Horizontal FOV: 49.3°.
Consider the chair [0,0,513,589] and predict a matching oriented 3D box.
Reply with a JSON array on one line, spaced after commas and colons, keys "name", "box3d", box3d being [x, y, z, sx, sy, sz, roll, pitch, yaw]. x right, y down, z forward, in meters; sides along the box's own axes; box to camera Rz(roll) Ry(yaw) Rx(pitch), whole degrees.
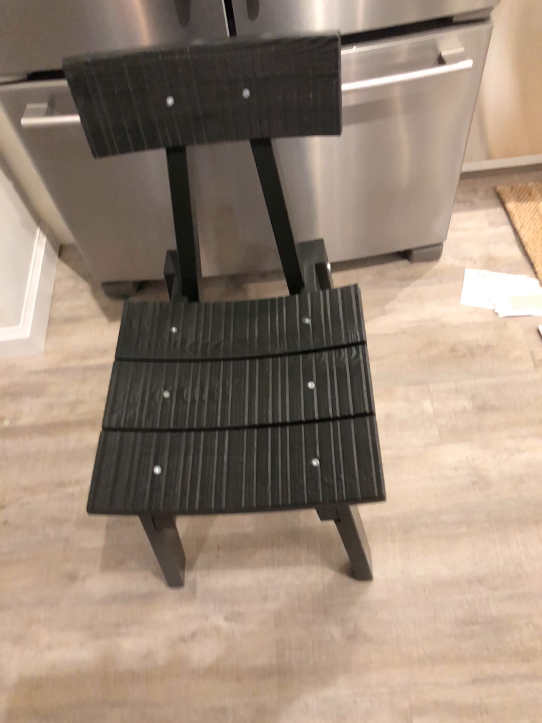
[{"name": "chair", "box3d": [-0.049, 0.000, 0.907, 0.520, 0.796, 0.512, -3, 59, 5]}]
